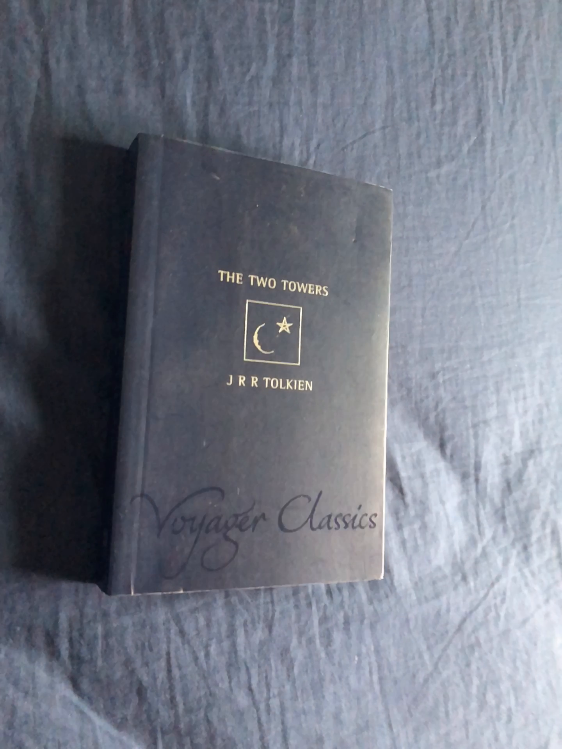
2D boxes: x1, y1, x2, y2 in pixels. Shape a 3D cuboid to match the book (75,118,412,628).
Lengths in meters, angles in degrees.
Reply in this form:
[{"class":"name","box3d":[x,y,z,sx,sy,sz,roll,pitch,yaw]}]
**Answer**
[{"class":"book","box3d":[-0.014,0.002,0.289,0.140,0.060,0.190,3,85,-27]}]
